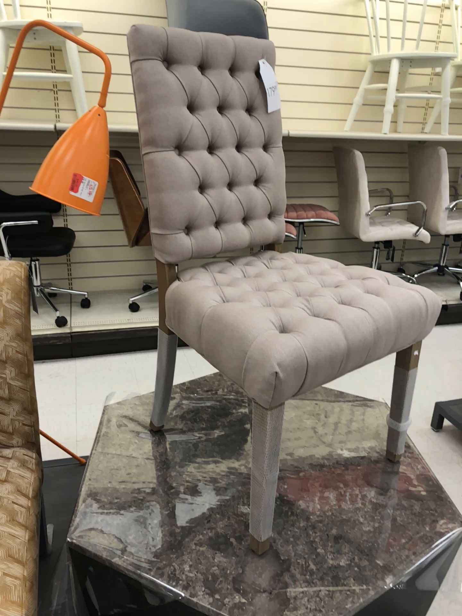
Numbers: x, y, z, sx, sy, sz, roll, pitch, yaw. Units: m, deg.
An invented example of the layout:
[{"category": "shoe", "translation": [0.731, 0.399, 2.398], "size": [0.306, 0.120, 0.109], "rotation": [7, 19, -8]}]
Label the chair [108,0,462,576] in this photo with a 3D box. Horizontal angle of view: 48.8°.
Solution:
[{"category": "chair", "translation": [0.124, -0.096, 1.217], "size": [0.571, 1.046, 0.581], "rotation": [-14, 26, -36]}]
